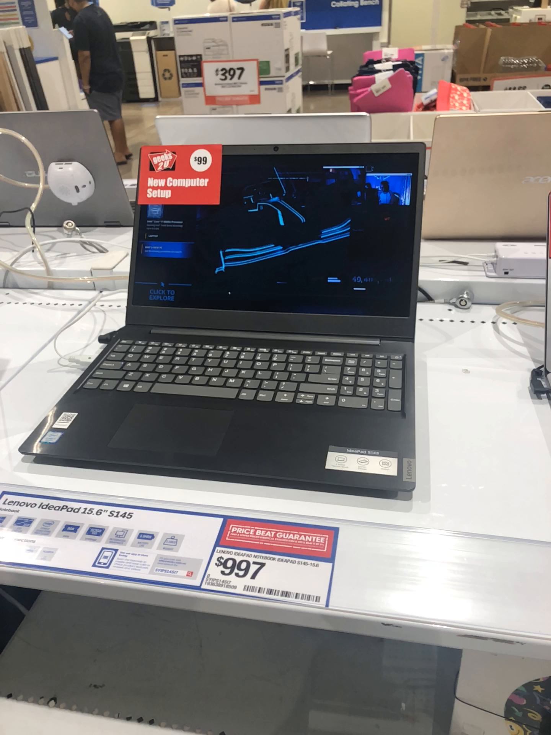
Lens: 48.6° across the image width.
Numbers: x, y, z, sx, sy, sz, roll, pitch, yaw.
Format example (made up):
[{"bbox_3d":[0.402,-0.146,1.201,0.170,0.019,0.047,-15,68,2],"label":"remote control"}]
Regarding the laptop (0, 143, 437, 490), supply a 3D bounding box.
[{"bbox_3d":[-0.028,-0.090,0.630,0.352,0.192,0.374,3,32,11],"label":"laptop"}]
